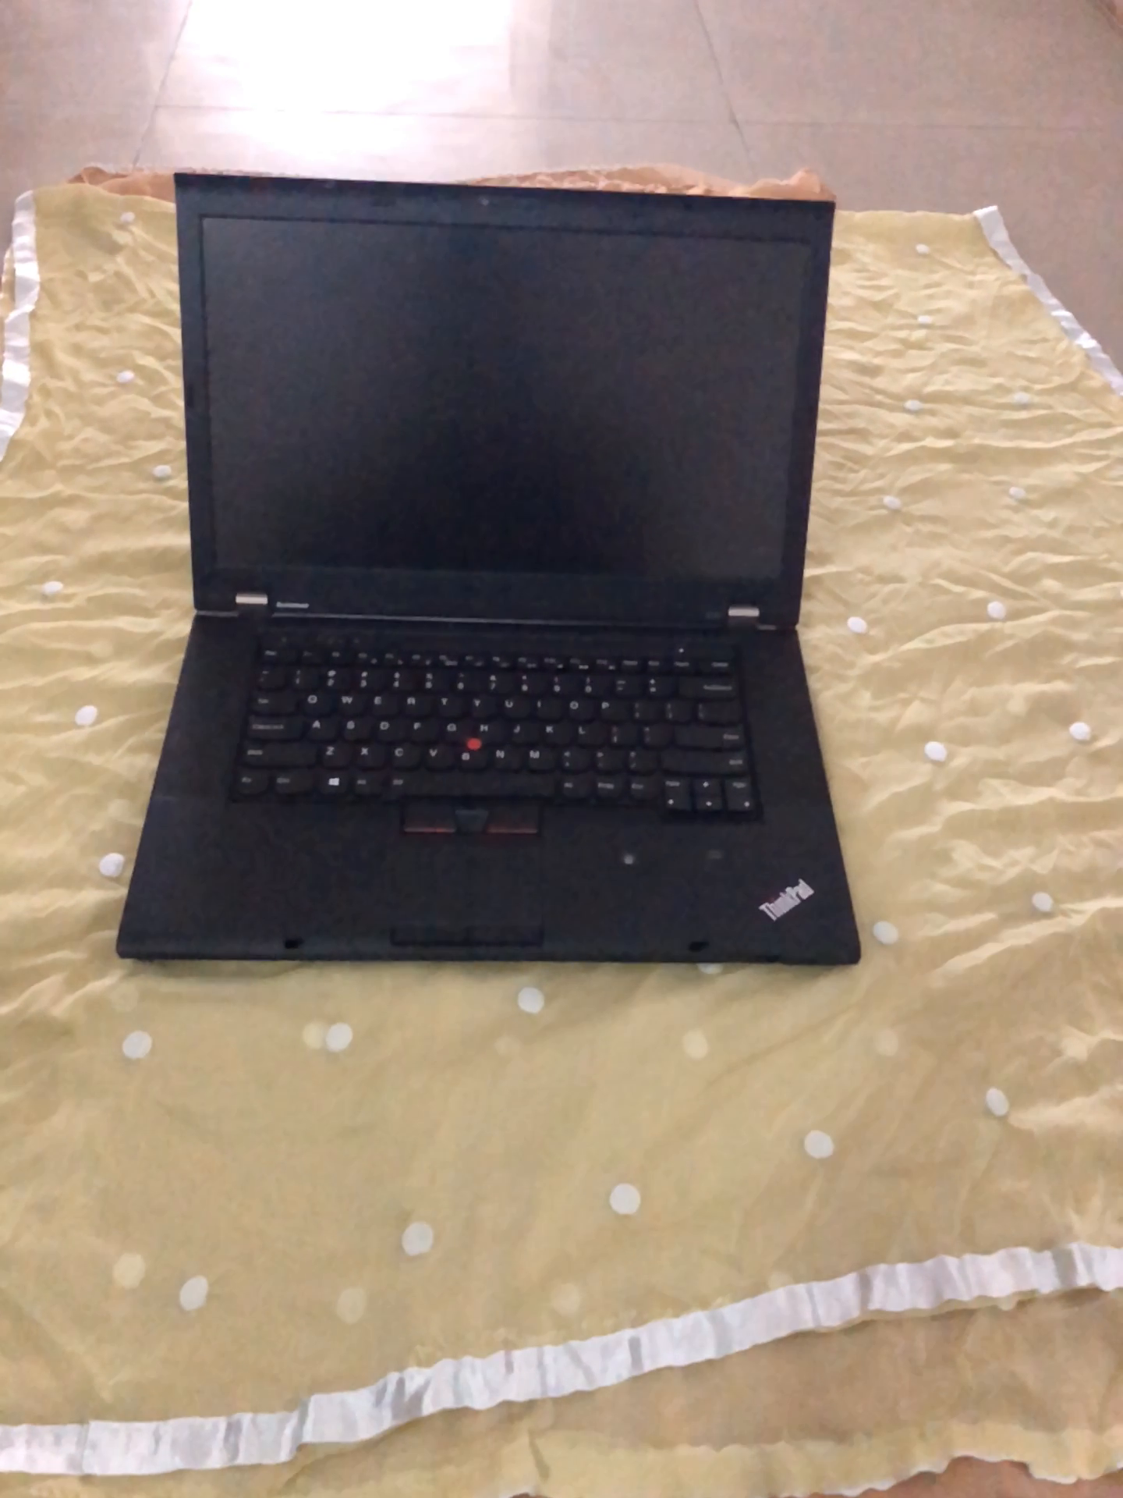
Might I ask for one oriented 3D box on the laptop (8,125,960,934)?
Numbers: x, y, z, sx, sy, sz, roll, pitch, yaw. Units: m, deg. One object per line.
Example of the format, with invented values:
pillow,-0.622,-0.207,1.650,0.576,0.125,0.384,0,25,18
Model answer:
laptop,-0.034,-0.126,0.657,0.363,0.191,0.382,1,53,-3
